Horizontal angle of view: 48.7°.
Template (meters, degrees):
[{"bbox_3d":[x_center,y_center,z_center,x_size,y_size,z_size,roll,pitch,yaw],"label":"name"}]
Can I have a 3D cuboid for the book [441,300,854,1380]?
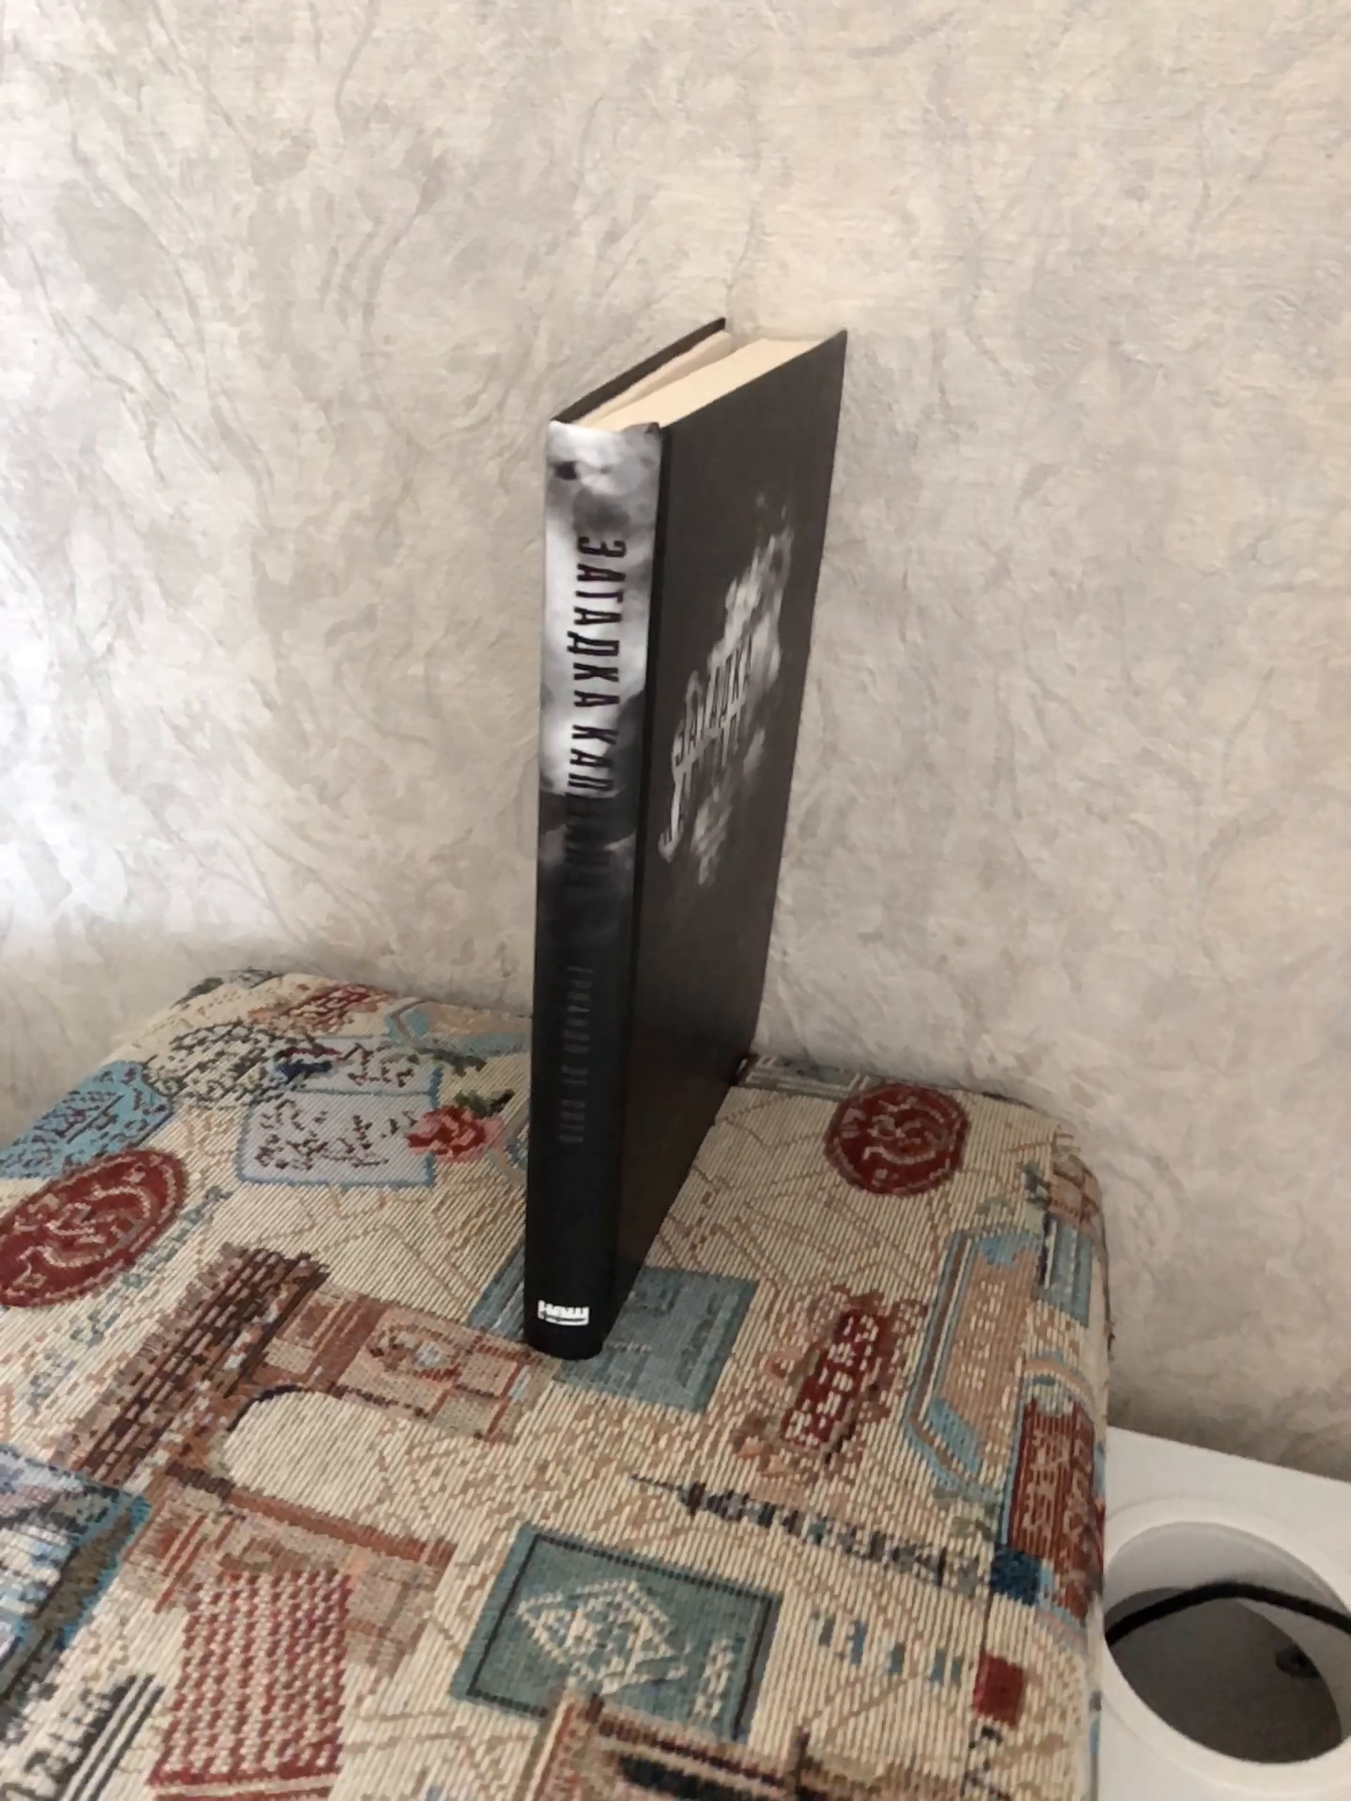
[{"bbox_3d":[-0.002,-0.018,0.337,0.035,0.200,0.138,11,32,15],"label":"book"}]
